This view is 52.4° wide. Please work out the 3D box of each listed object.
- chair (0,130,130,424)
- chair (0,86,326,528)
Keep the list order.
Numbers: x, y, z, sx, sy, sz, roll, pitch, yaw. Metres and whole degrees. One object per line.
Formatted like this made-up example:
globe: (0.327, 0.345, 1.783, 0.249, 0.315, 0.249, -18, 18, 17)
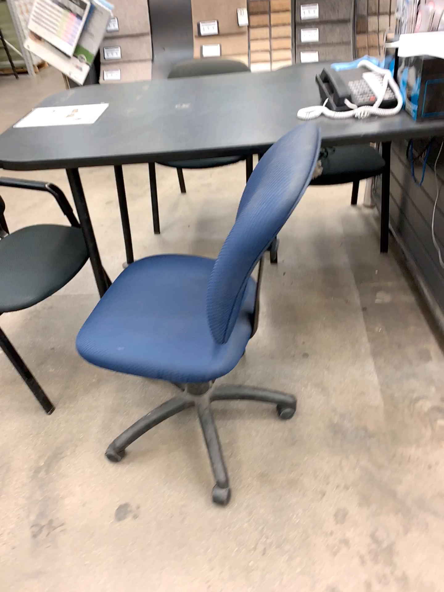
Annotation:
chair: (-0.786, -0.089, 1.604, 0.542, 0.799, 0.570, 9, 39, 19)
chair: (-0.092, 0.005, 1.232, 0.661, 0.889, 0.701, 4, 38, 13)
